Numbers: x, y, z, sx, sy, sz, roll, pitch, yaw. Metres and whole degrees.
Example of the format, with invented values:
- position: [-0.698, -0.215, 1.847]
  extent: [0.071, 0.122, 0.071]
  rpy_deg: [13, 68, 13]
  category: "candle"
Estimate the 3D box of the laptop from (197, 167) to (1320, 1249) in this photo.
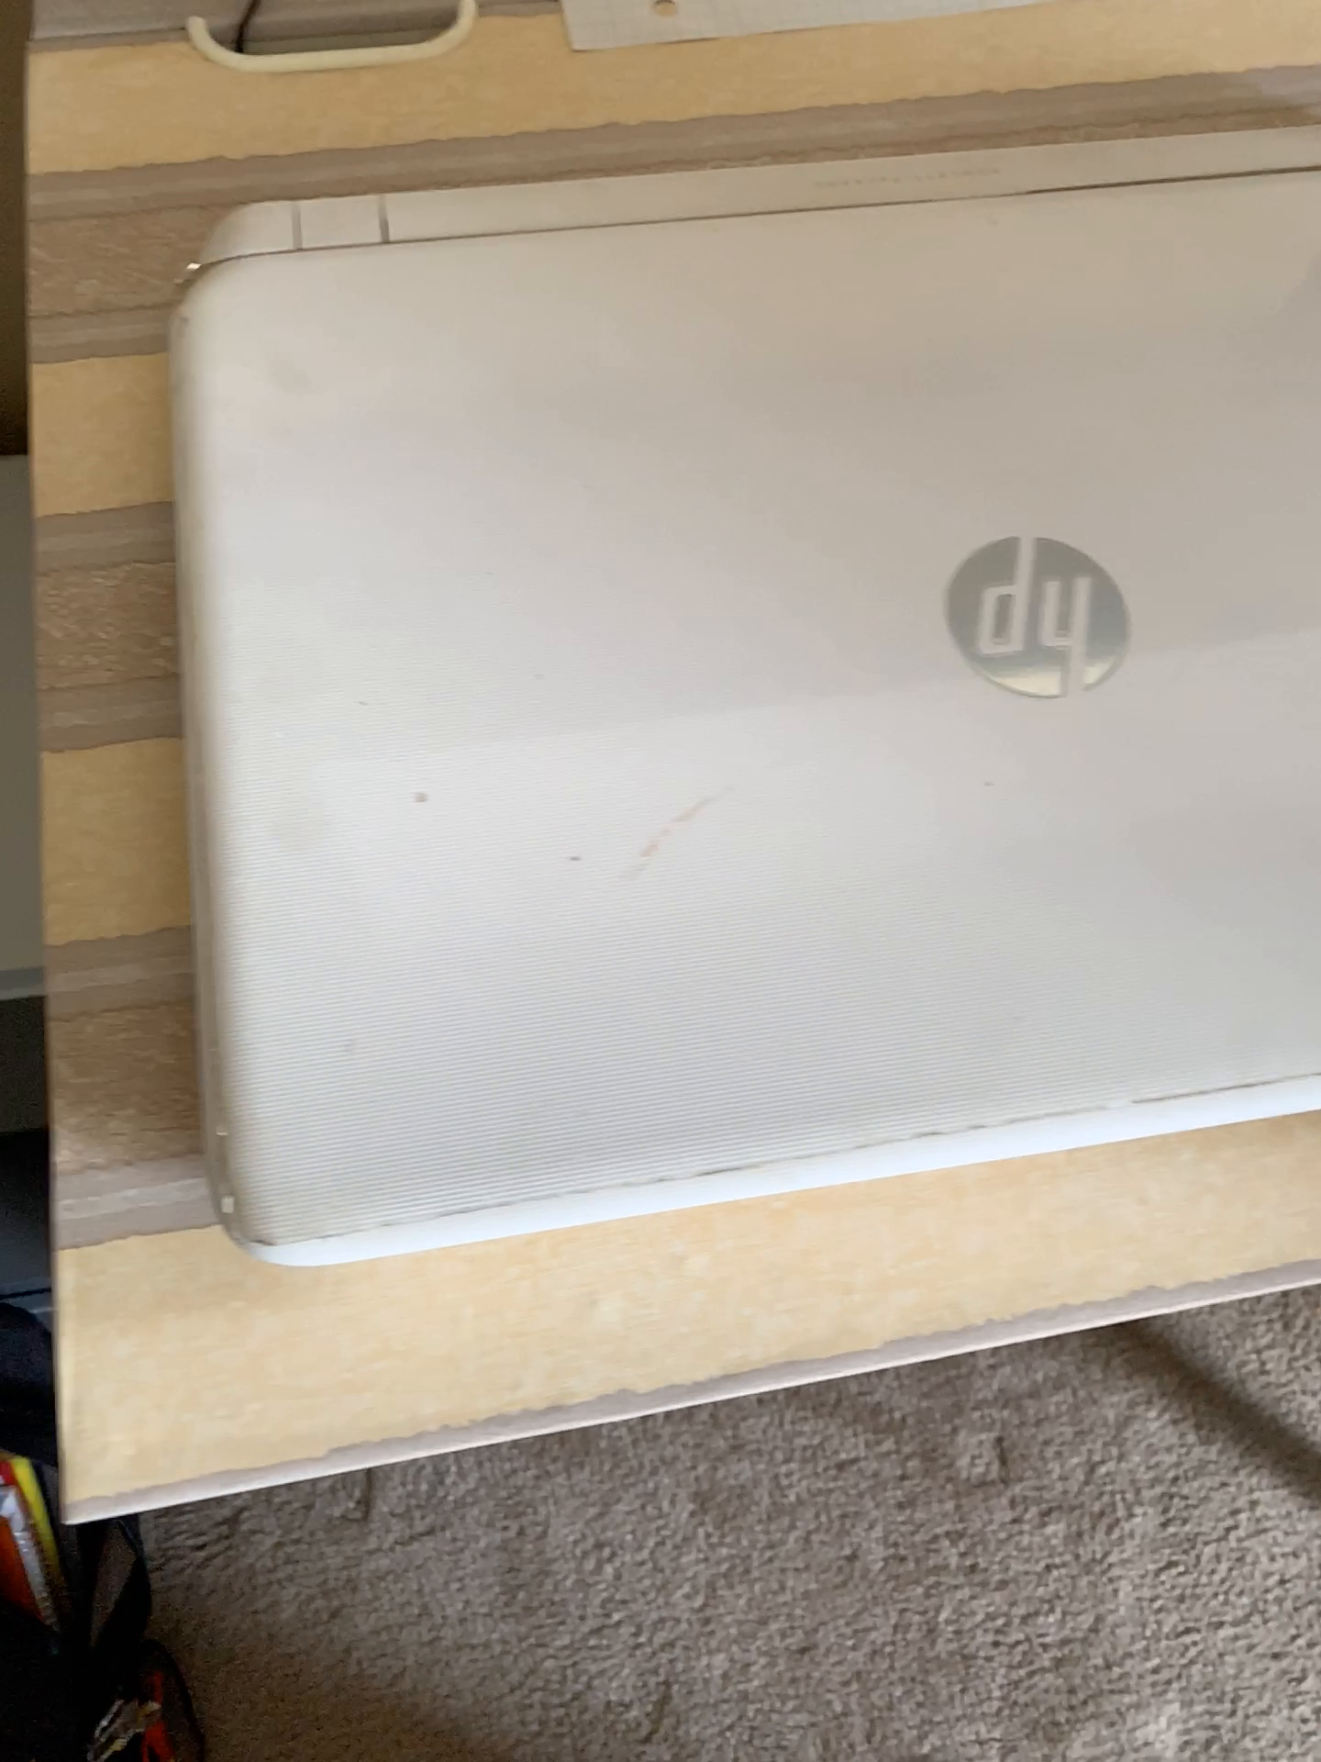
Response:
- position: [0.083, -0.061, 0.312]
  extent: [0.363, 0.002, 0.229]
  rpy_deg: [-7, 70, -5]
  category: "laptop"
